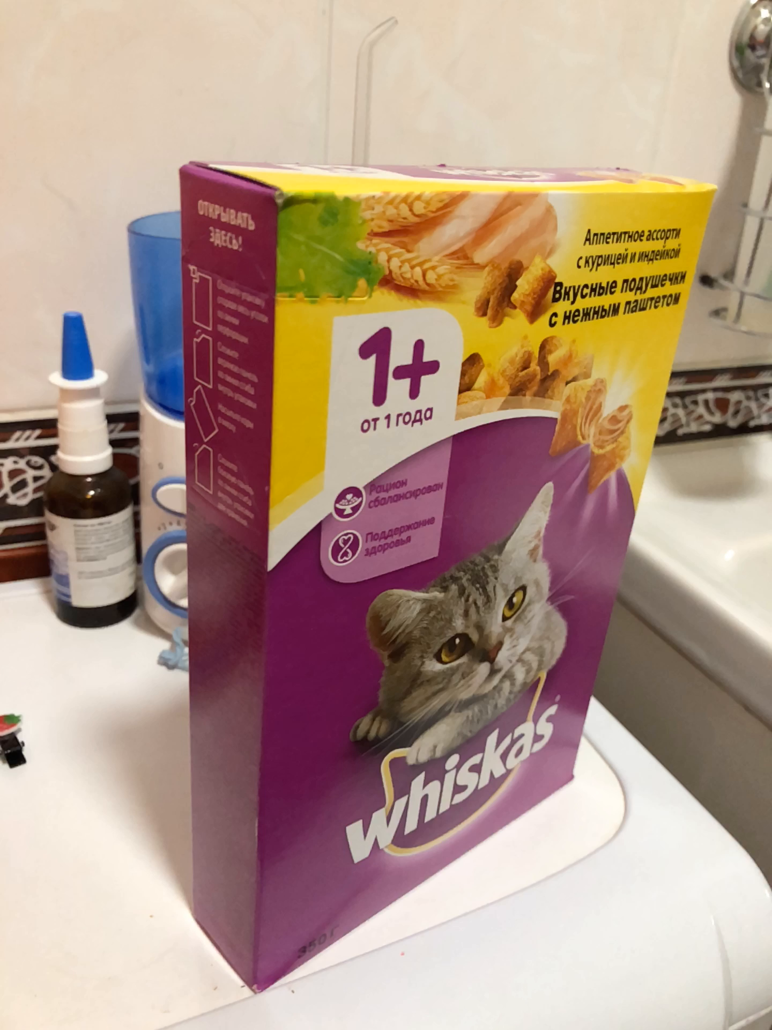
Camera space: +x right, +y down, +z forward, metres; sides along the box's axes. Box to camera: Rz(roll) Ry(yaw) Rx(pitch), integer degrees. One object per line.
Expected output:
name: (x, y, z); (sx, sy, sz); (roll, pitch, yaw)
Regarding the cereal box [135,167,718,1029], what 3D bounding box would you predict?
cereal box: (0.013, 0.019, 0.249); (0.151, 0.219, 0.040); (-18, 34, -38)
